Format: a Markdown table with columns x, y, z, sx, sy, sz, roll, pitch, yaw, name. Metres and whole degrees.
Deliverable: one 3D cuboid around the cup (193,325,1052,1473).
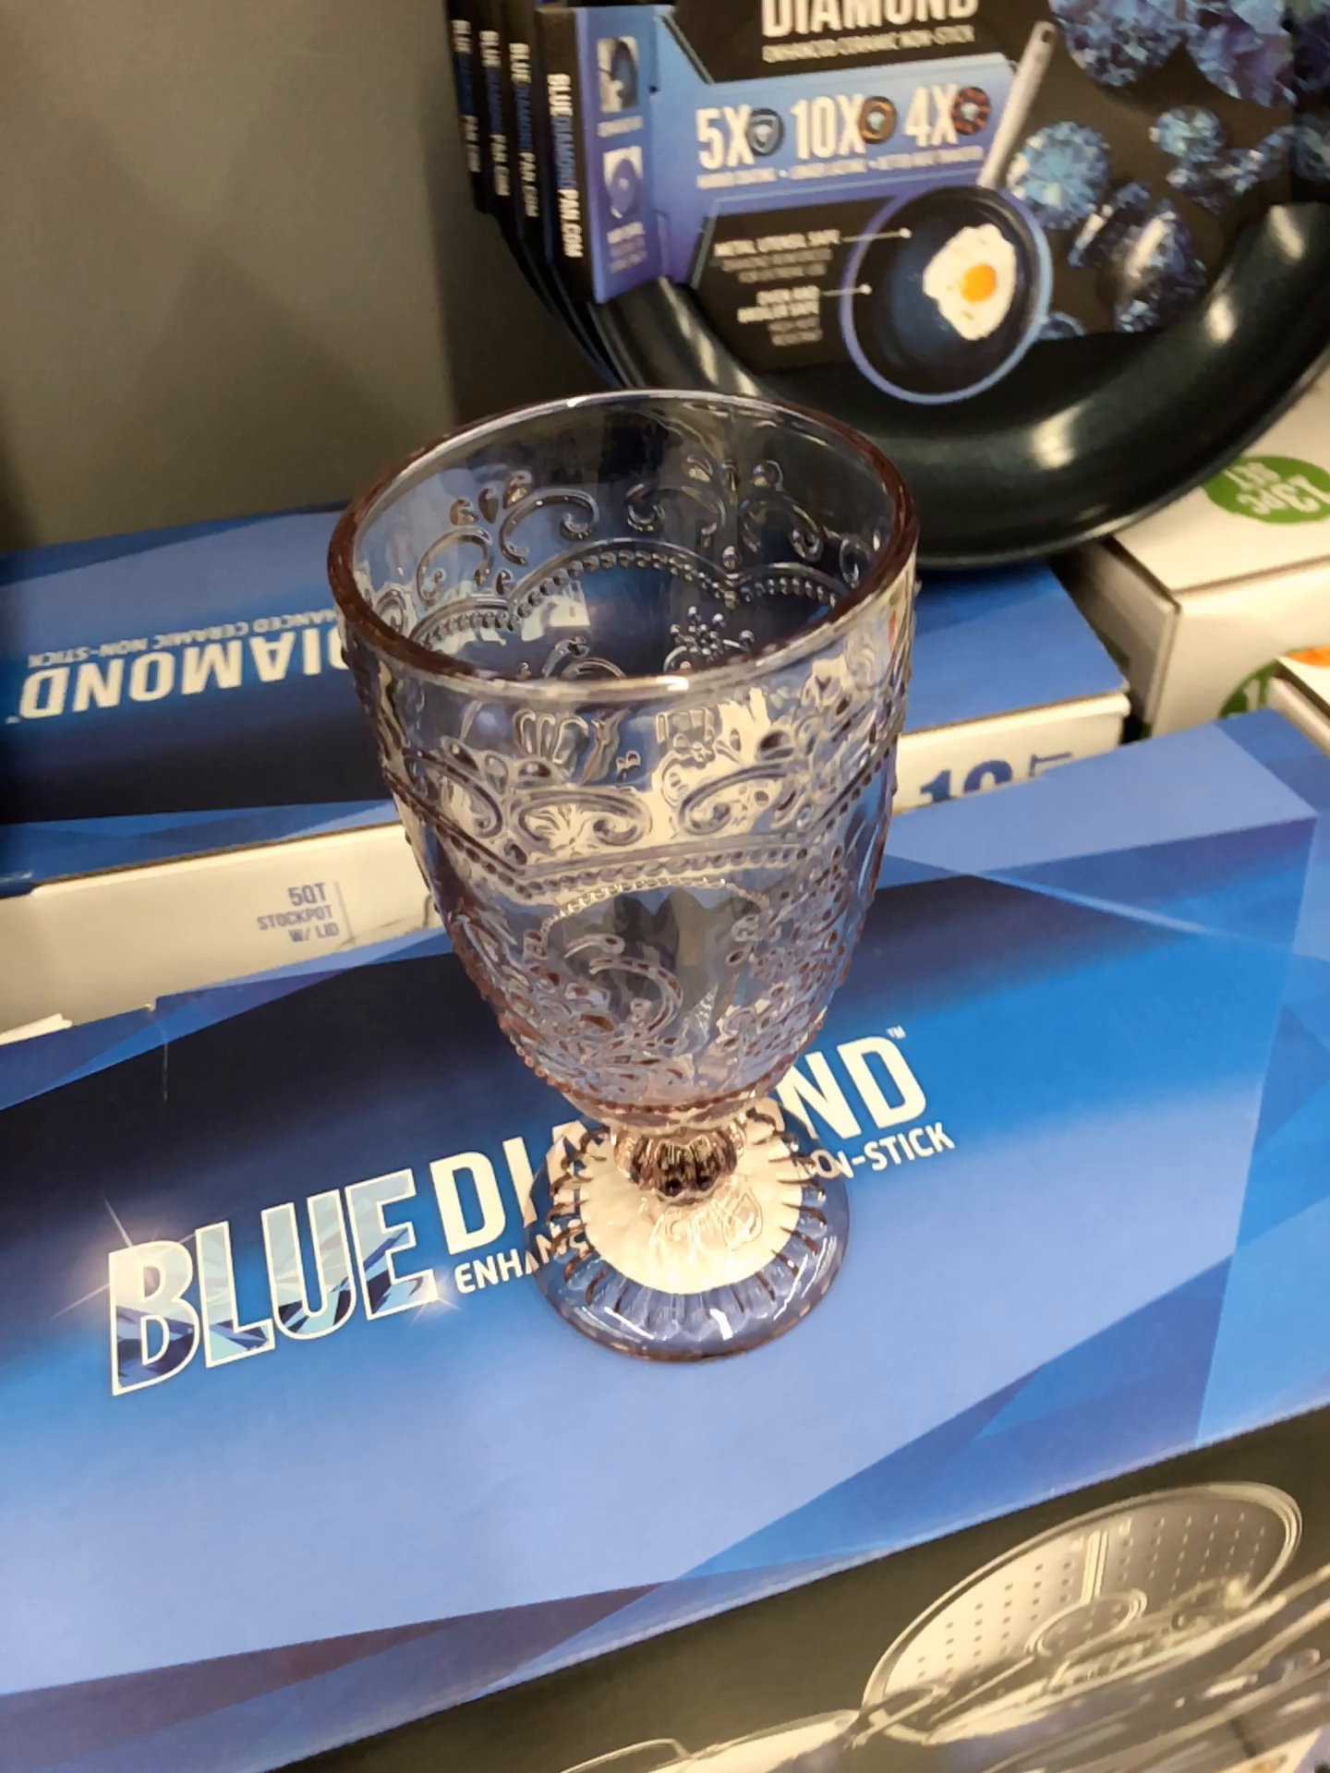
| x | y | z | sx | sy | sz | roll | pitch | yaw | name |
| --- | --- | --- | --- | --- | --- | --- | --- | --- | --- |
| -0.001 | 0.007 | 0.267 | 0.089 | 0.168 | 0.086 | -4 | 43 | 4 | cup |
